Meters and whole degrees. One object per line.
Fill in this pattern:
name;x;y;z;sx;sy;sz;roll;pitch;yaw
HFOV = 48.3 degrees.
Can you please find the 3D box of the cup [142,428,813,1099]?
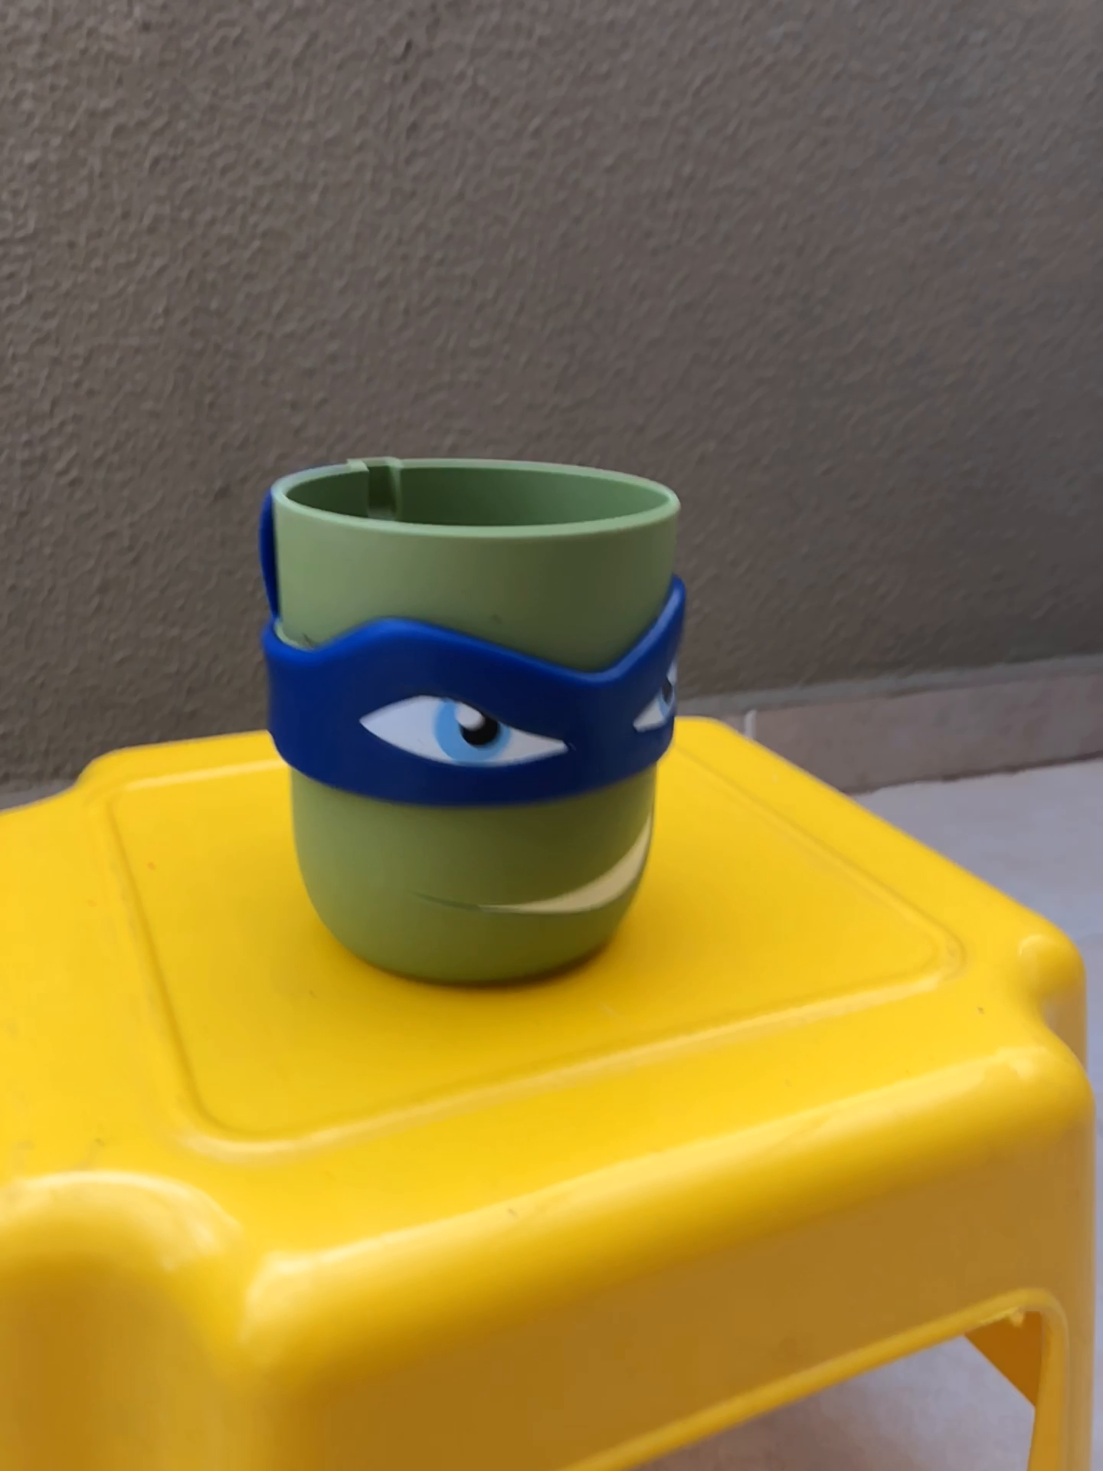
cup;-0.020;-0.008;0.247;0.080;0.089;0.110;-13;25;-33
